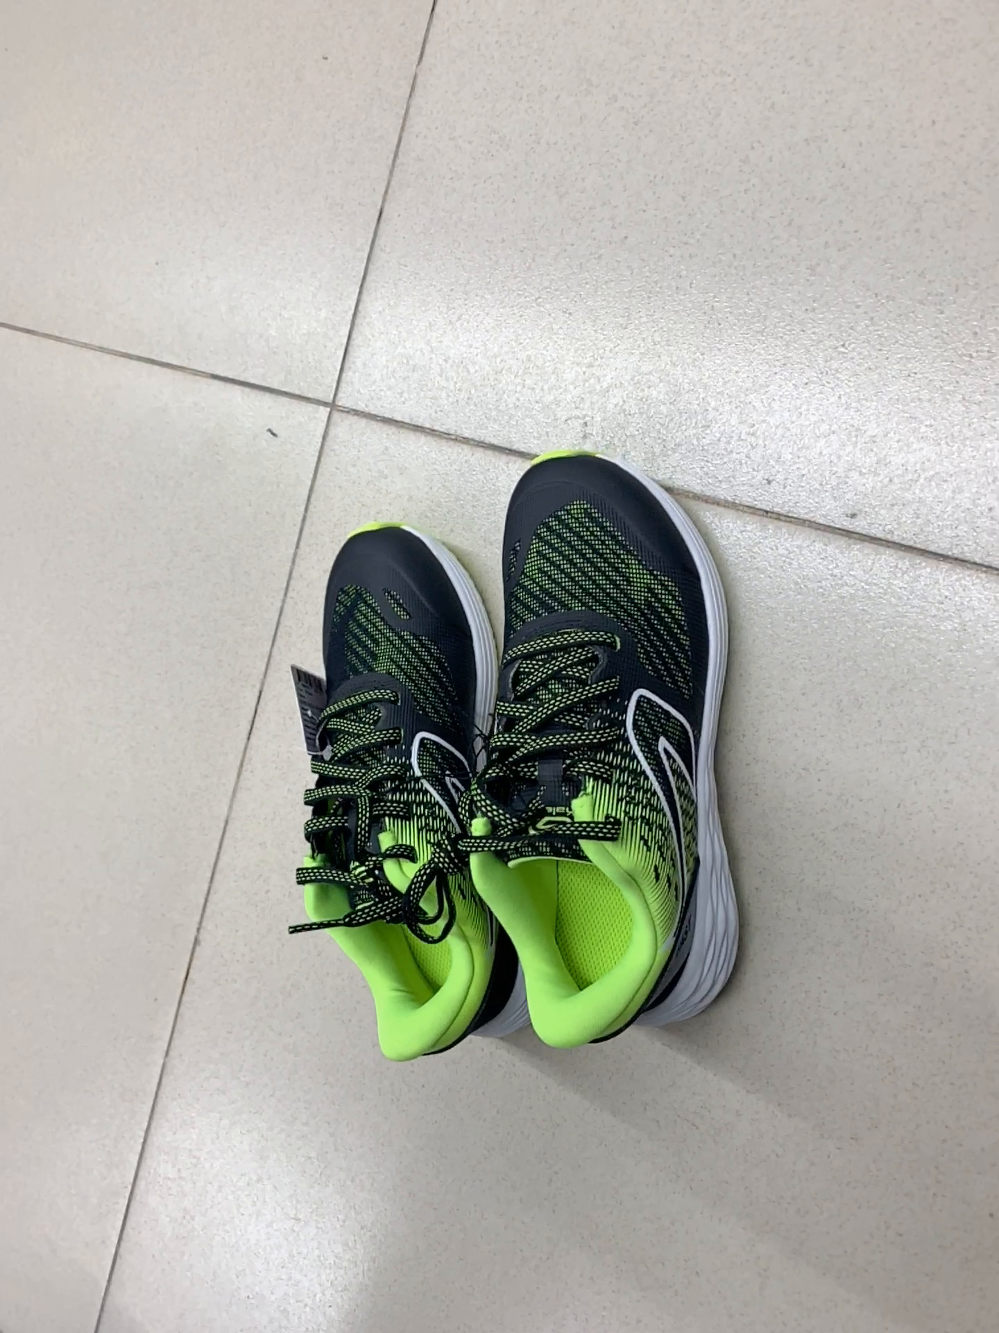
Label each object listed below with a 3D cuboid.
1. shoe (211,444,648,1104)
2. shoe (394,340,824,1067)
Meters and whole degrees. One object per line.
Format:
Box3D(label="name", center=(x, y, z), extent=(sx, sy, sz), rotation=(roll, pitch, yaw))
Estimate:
Box3D(label="shoe", center=(-0.030, 0.044, 0.443), extent=(0.090, 0.110, 0.240), rotation=(-20, 78, 31))
Box3D(label="shoe", center=(0.045, 0.017, 0.403), extent=(0.090, 0.110, 0.240), rotation=(-13, 82, 32))
